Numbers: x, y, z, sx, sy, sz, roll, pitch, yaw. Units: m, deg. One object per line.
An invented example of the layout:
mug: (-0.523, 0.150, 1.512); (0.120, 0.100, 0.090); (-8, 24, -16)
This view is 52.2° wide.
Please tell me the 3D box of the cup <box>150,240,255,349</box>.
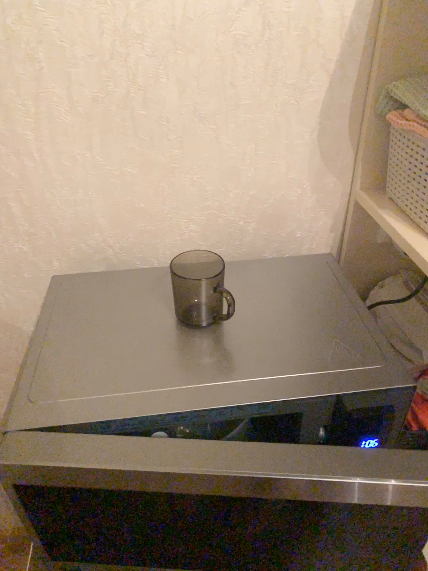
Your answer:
cup: (-0.015, 0.008, 0.577); (0.111, 0.079, 0.080); (29, 45, 36)
